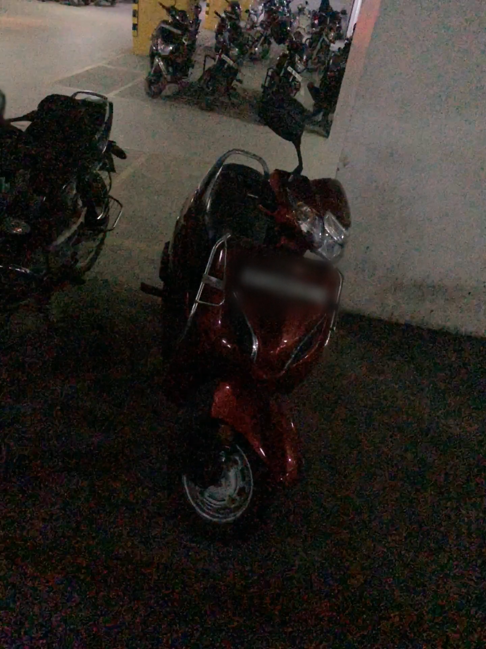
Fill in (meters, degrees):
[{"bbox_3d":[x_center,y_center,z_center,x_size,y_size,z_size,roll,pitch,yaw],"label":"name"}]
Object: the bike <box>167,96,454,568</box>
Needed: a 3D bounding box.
[{"bbox_3d":[0.081,-0.058,1.938,0.487,0.909,1.396,-2,45,-18],"label":"bike"}]
